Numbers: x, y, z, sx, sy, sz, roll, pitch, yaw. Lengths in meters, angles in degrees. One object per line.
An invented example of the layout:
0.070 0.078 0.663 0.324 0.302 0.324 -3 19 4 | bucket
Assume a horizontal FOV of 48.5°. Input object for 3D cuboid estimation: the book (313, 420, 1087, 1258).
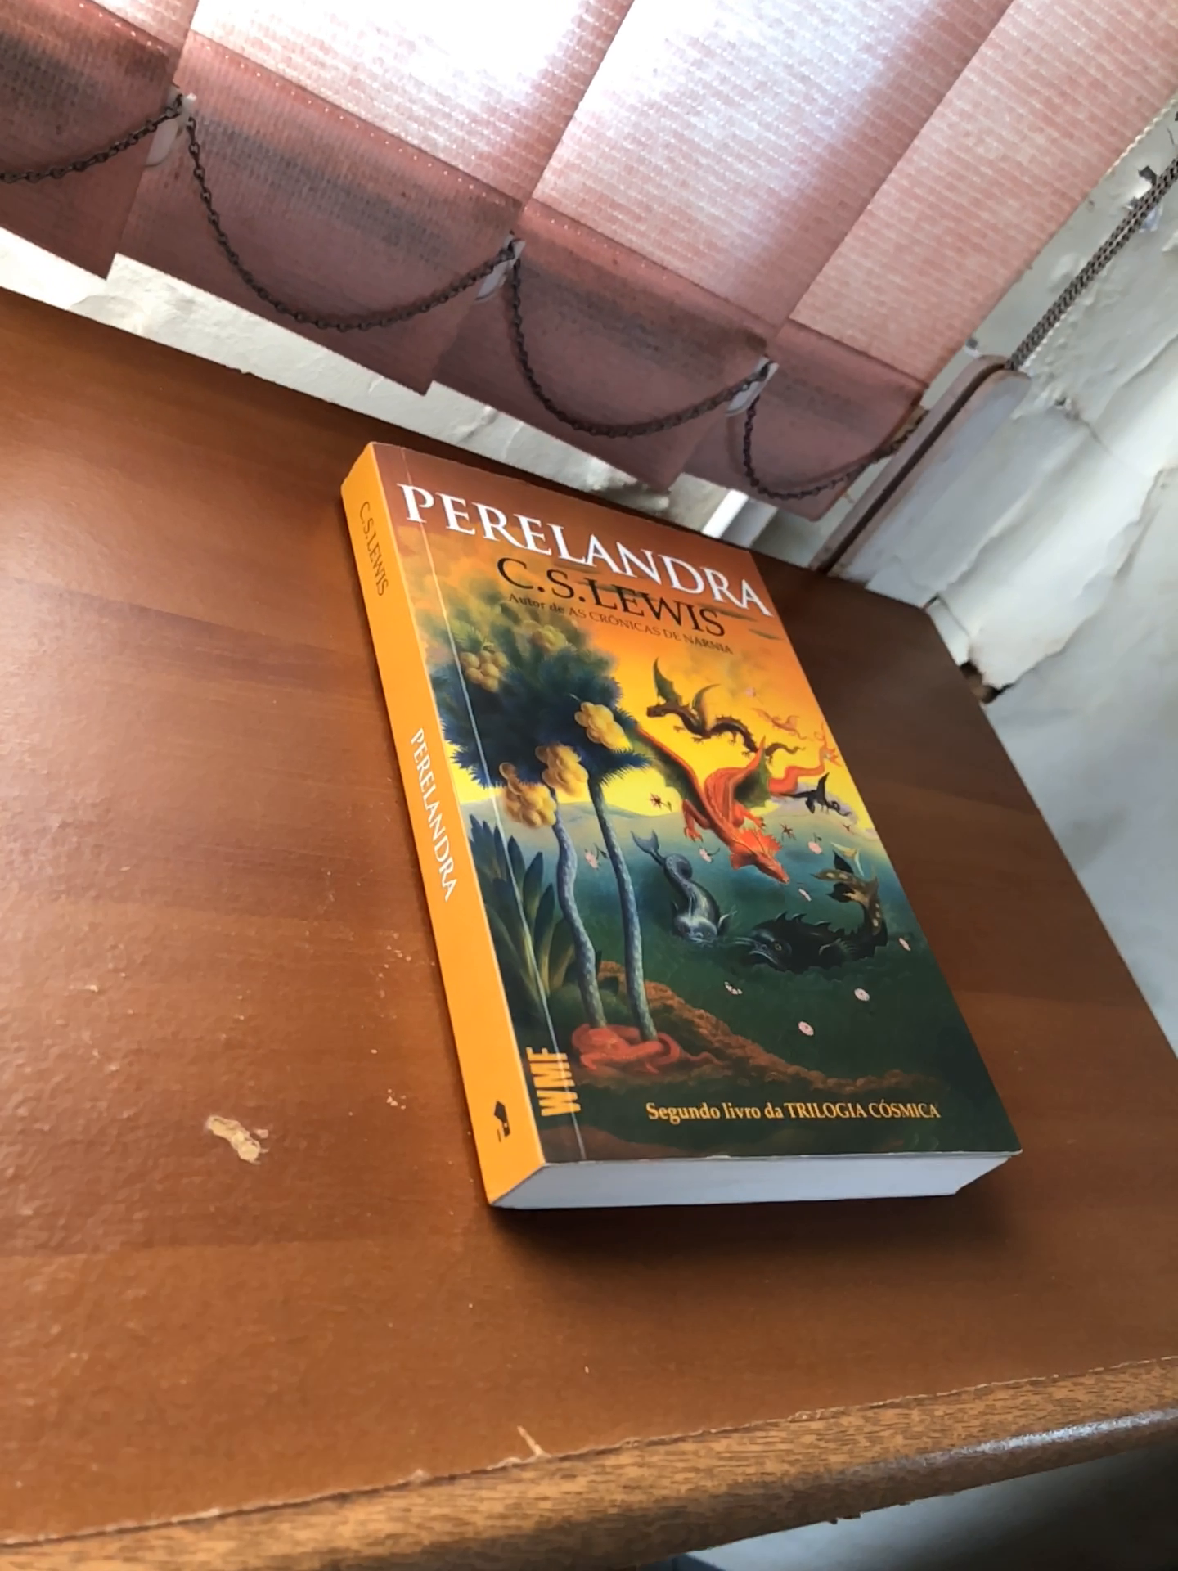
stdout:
0.017 0.004 0.300 0.130 0.030 0.191 9 46 -33 | book
